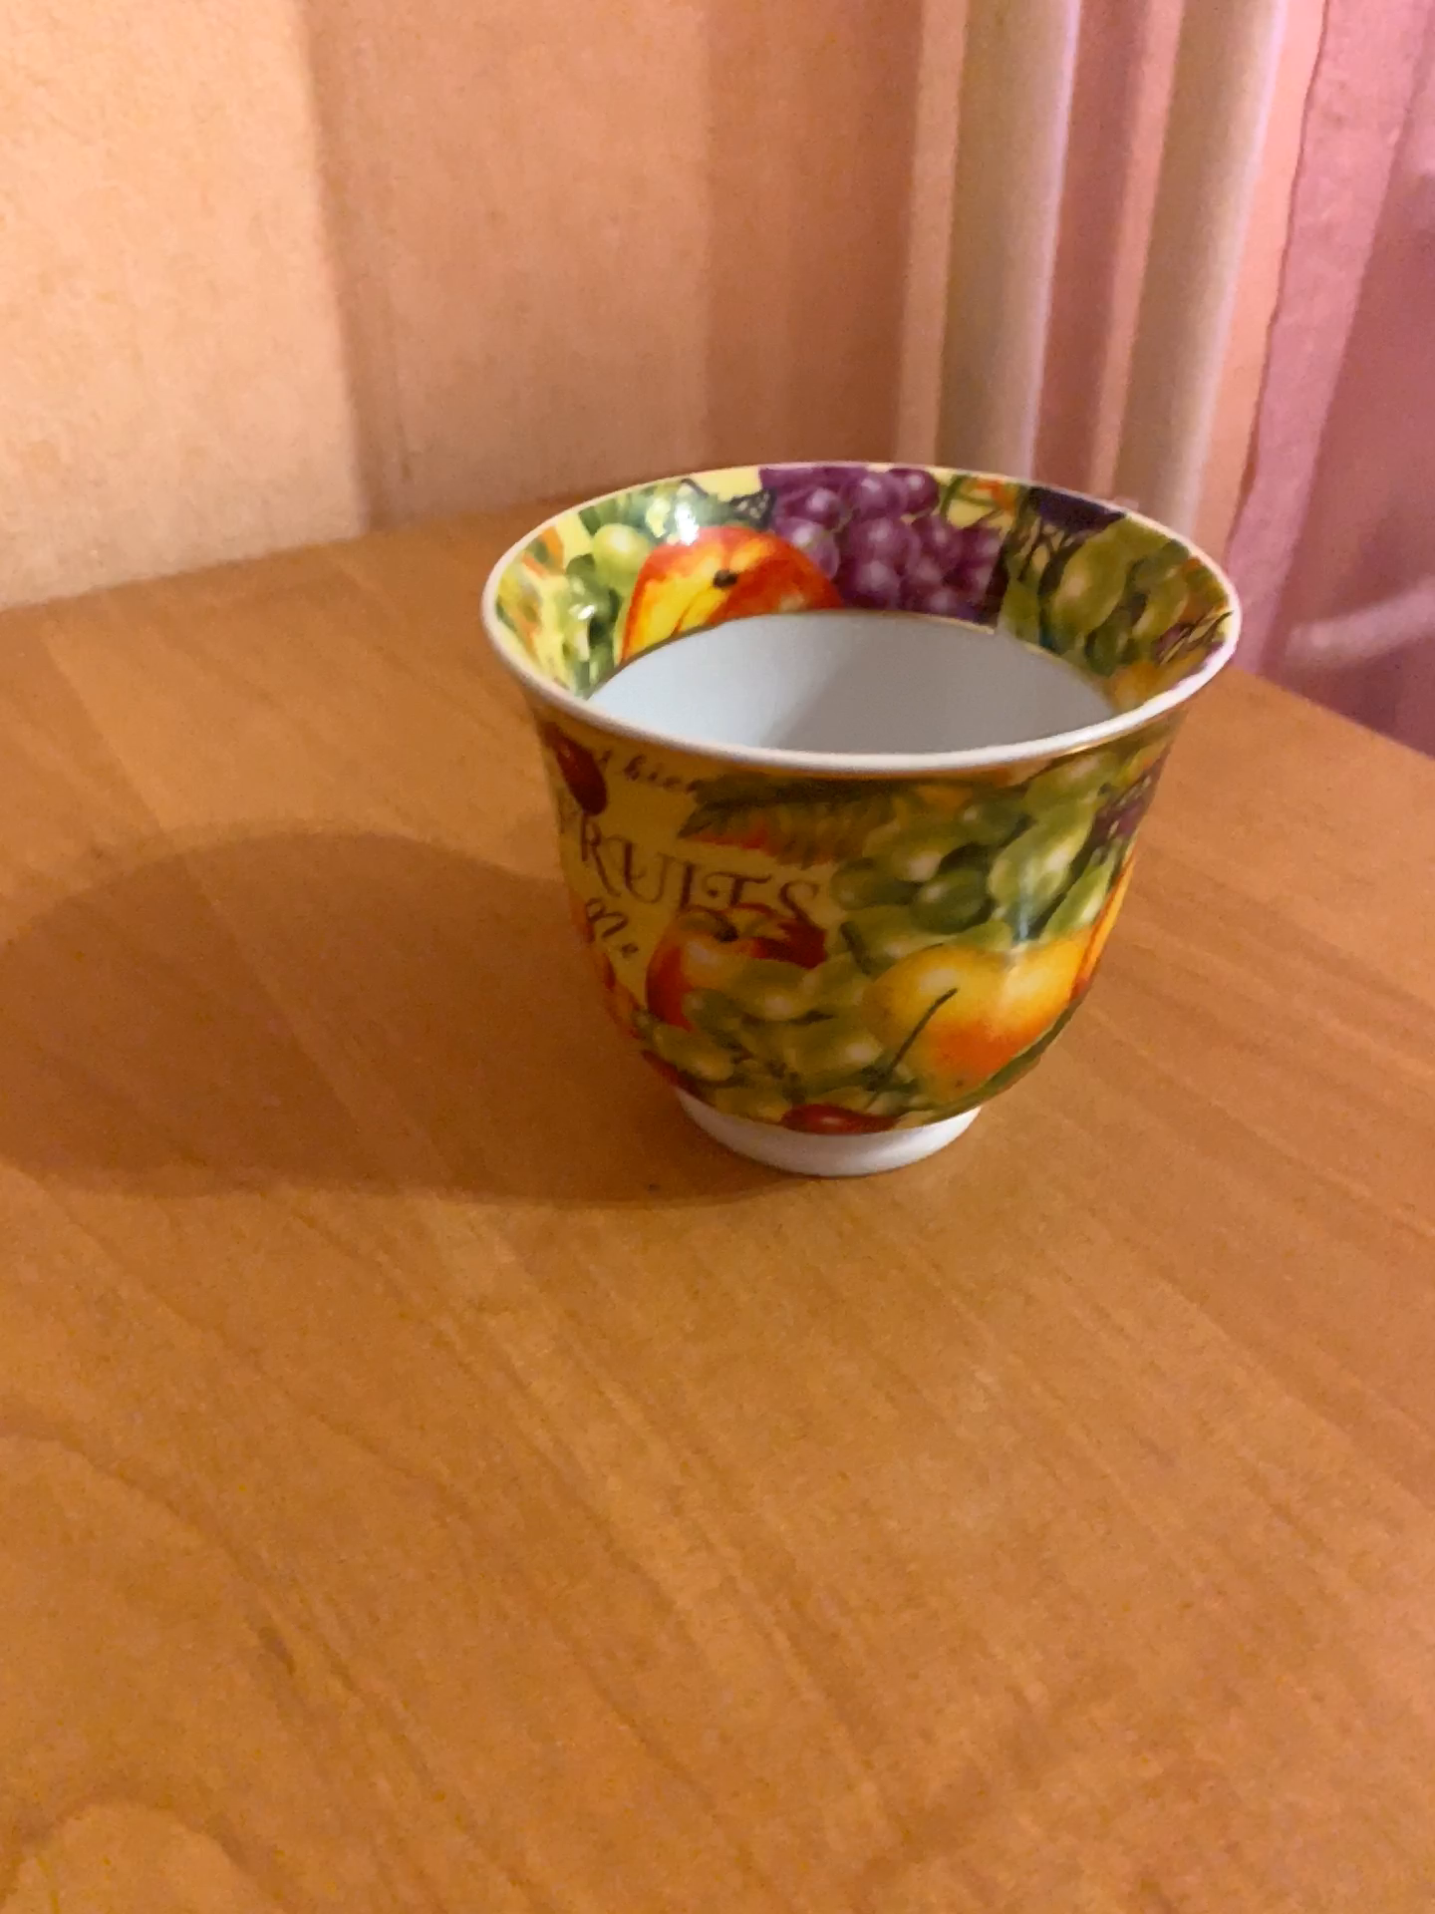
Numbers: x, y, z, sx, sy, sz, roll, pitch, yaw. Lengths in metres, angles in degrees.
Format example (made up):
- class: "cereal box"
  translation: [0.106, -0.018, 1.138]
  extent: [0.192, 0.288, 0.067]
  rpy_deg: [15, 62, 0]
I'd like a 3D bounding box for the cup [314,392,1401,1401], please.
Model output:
- class: "cup"
  translation: [0.022, -0.020, 0.199]
  extent: [0.086, 0.071, 0.106]
  rpy_deg: [23, 41, 30]
